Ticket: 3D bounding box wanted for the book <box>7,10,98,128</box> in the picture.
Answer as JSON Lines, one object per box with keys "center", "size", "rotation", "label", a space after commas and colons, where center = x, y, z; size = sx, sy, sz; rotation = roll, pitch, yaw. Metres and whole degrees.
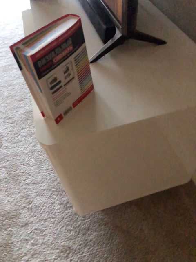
{"center": [-0.077, -0.123, 0.456], "size": [0.060, 0.179, 0.150], "rotation": [30, 60, 26], "label": "book"}
